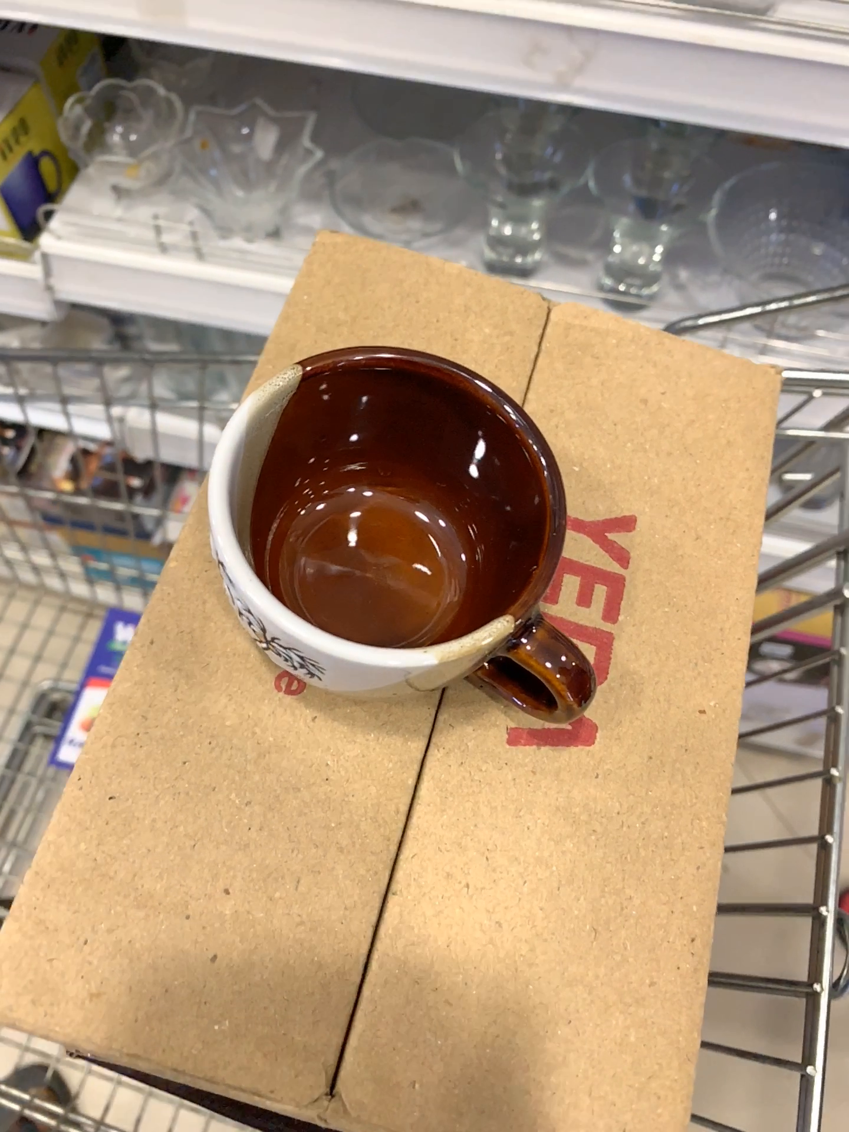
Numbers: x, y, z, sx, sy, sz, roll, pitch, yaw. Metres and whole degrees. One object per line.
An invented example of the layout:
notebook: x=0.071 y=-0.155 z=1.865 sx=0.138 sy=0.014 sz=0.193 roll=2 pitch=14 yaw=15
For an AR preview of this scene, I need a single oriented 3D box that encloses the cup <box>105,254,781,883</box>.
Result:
cup: x=0.001 y=0.004 z=0.177 sx=0.100 sy=0.060 sz=0.060 roll=40 pitch=70 yaw=10
